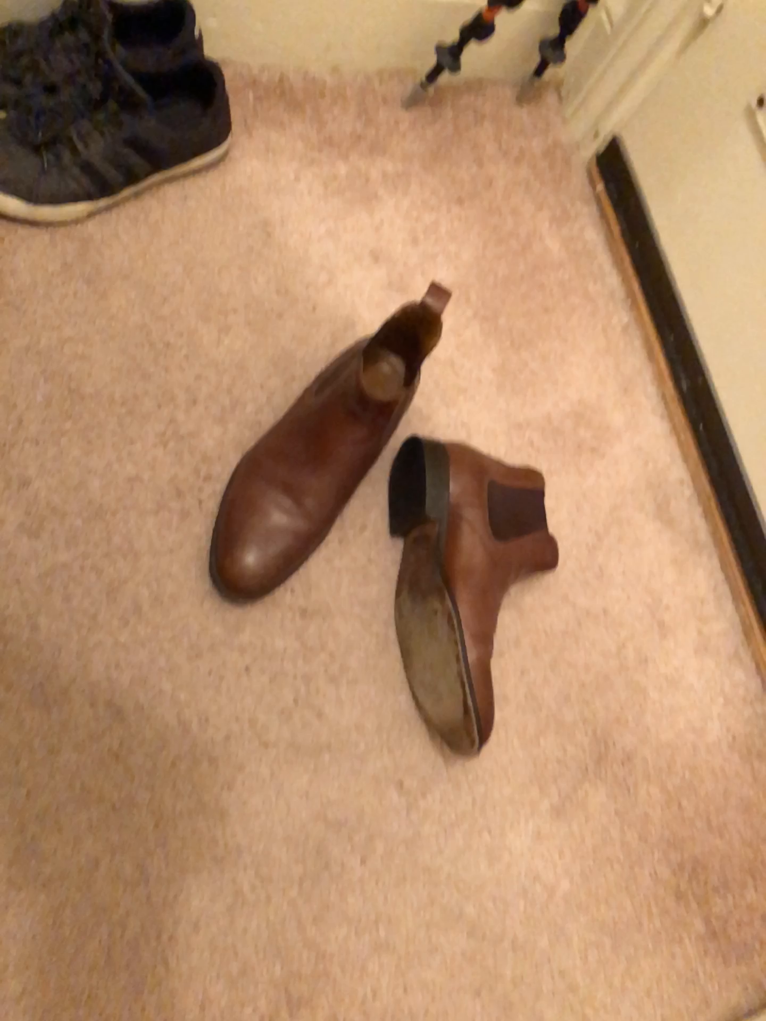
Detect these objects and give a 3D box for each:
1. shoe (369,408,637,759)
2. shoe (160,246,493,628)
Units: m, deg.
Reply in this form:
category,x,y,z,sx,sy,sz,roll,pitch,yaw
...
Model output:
category,x,y,z,sx,sy,sz,roll,pitch,yaw
shoe,0.102,0.066,0.784,0.169,0.119,0.296,-2,75,-21
shoe,-0.050,-0.061,0.736,0.109,0.159,0.297,38,65,-5
